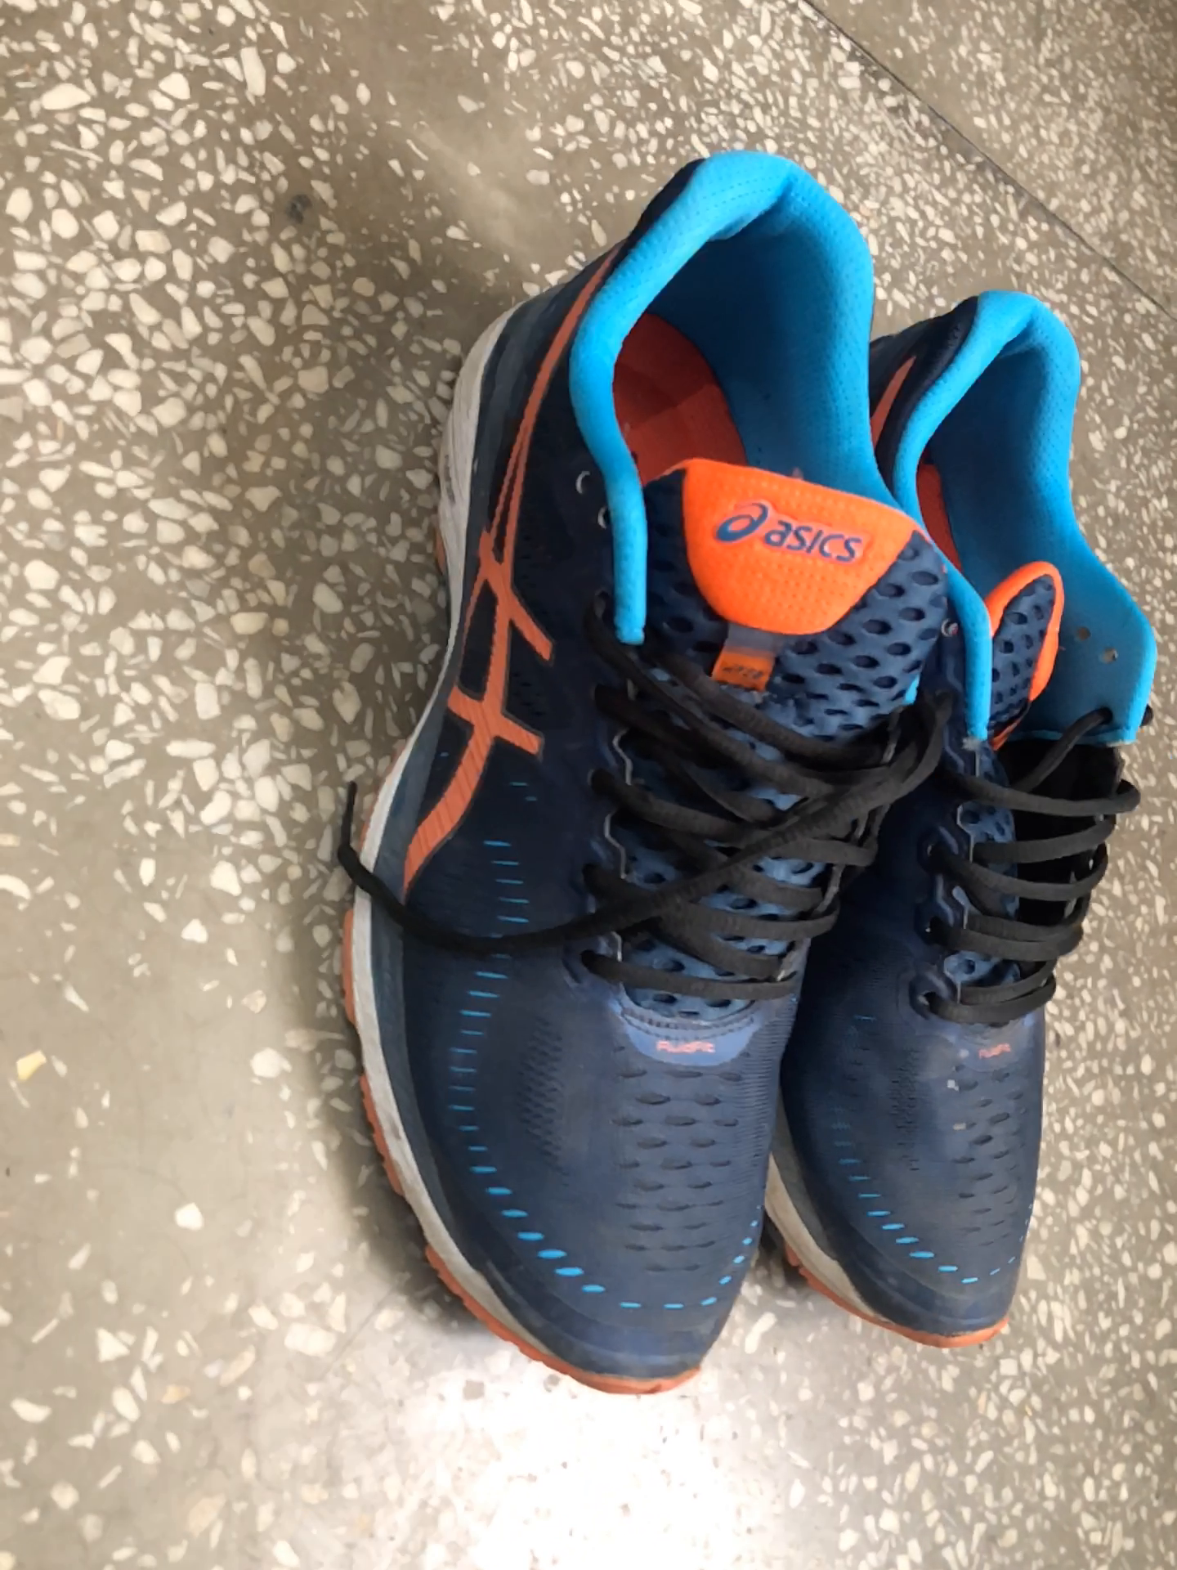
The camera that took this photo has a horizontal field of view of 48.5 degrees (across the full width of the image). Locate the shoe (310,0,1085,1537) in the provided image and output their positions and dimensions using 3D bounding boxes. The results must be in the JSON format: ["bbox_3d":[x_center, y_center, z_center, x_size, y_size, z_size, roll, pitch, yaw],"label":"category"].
[{"bbox_3d":[0.018,-0.009,0.300,0.118,0.100,0.288,10,71,-33],"label":"shoe"}]

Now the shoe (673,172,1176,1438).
[{"bbox_3d":[0.108,0.005,0.361,0.118,0.100,0.288,8,72,-33],"label":"shoe"}]
